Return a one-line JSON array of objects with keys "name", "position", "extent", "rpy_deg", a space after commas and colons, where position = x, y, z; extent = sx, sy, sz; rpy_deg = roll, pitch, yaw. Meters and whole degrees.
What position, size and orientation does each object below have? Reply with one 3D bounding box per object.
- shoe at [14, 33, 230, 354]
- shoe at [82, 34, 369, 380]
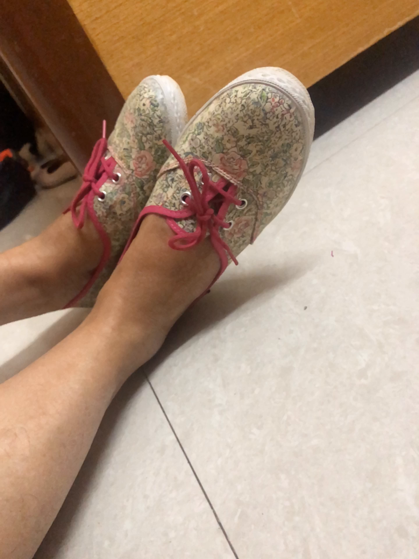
[{"name": "shoe", "position": [-0.092, -0.055, 0.402], "extent": [0.070, 0.091, 0.259], "rpy_deg": [-14, -33, -44]}, {"name": "shoe", "position": [-0.004, -0.036, 0.361], "extent": [0.259, 0.090, 0.070], "rpy_deg": [-54, 0, 39]}]
